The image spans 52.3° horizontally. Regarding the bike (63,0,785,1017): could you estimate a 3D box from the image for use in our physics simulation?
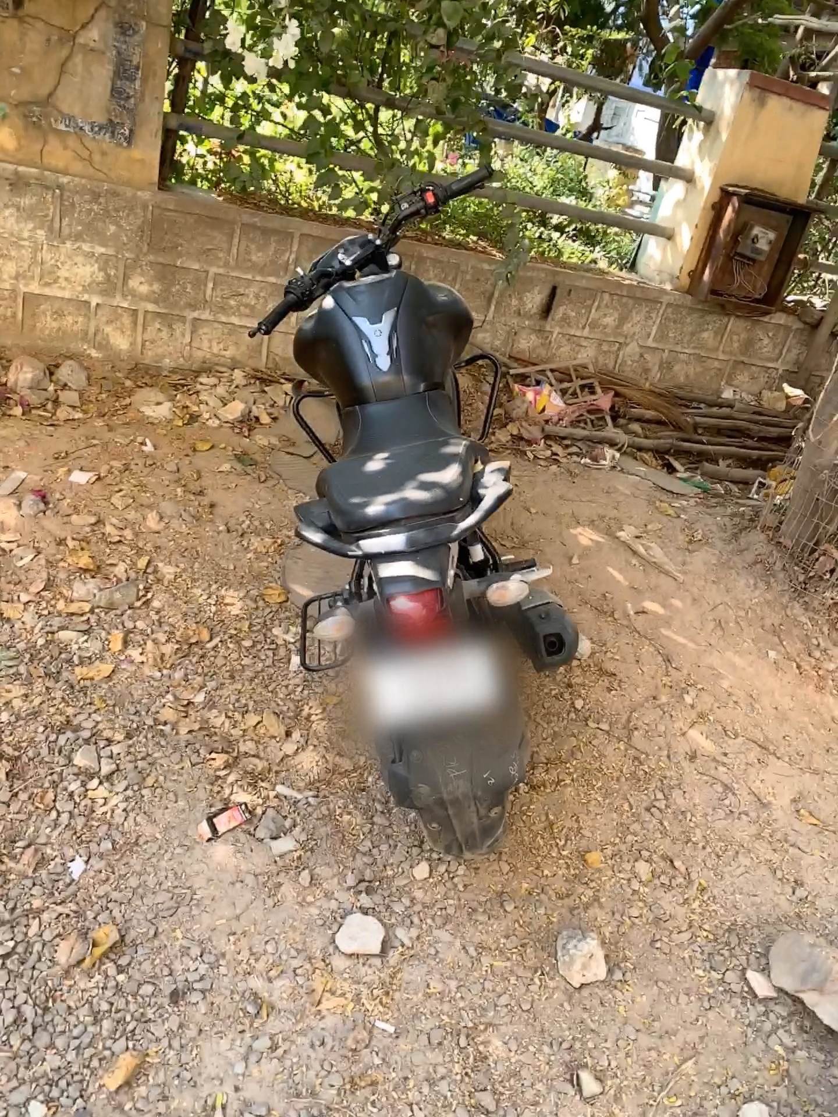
[{"bbox_3d":[-0.244,-0.302,2.023,0.818,1.499,1.763,6,31,-17],"label":"bike"}]
